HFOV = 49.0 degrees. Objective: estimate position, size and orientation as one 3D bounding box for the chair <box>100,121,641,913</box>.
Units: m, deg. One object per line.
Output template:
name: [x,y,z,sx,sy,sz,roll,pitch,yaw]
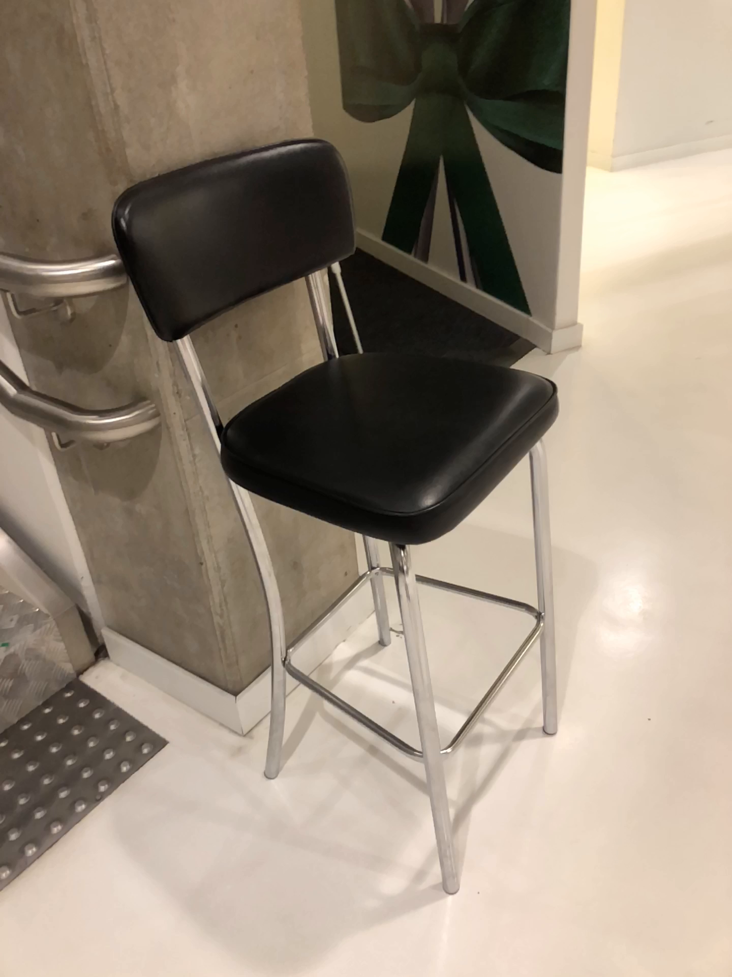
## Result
chair: [0.053,0.039,1.178,0.441,0.982,0.452,18,39,32]
